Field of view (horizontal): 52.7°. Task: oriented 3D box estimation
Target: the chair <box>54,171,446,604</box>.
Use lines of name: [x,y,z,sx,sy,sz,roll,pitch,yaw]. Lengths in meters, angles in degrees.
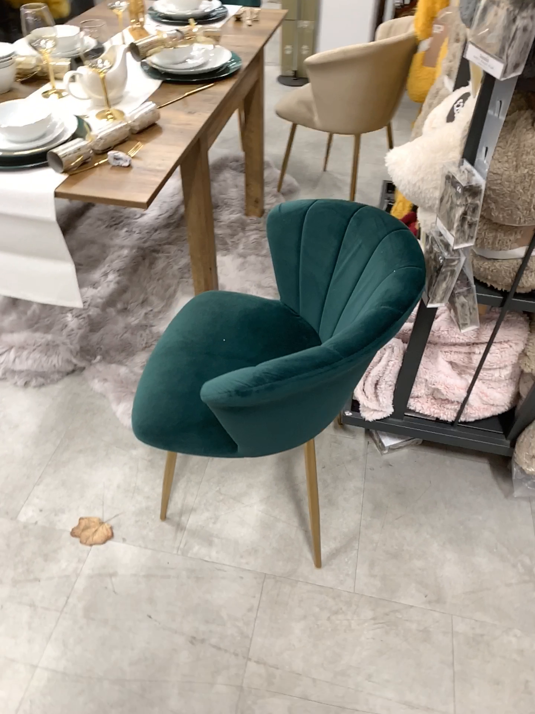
chair: [0.021,0.071,1.197,0.570,0.692,0.552,9,46,9]
